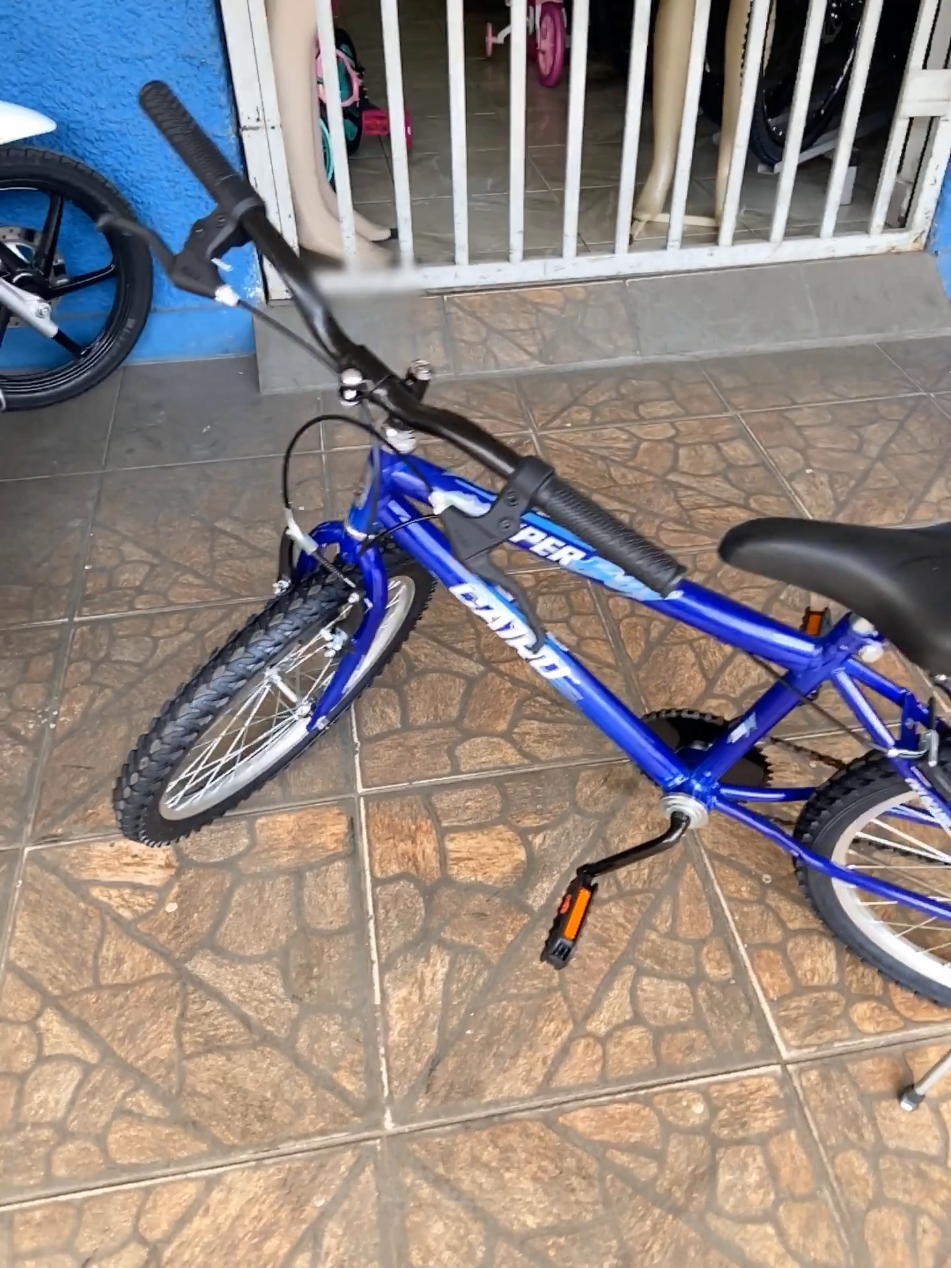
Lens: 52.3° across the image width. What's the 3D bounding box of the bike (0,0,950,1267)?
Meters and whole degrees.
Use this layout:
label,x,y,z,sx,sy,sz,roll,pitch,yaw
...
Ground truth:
label,x,y,z,sx,sy,sz,roll,pitch,yaw
bike,0.206,0.068,0.826,1.181,0.949,0.547,9,42,9
